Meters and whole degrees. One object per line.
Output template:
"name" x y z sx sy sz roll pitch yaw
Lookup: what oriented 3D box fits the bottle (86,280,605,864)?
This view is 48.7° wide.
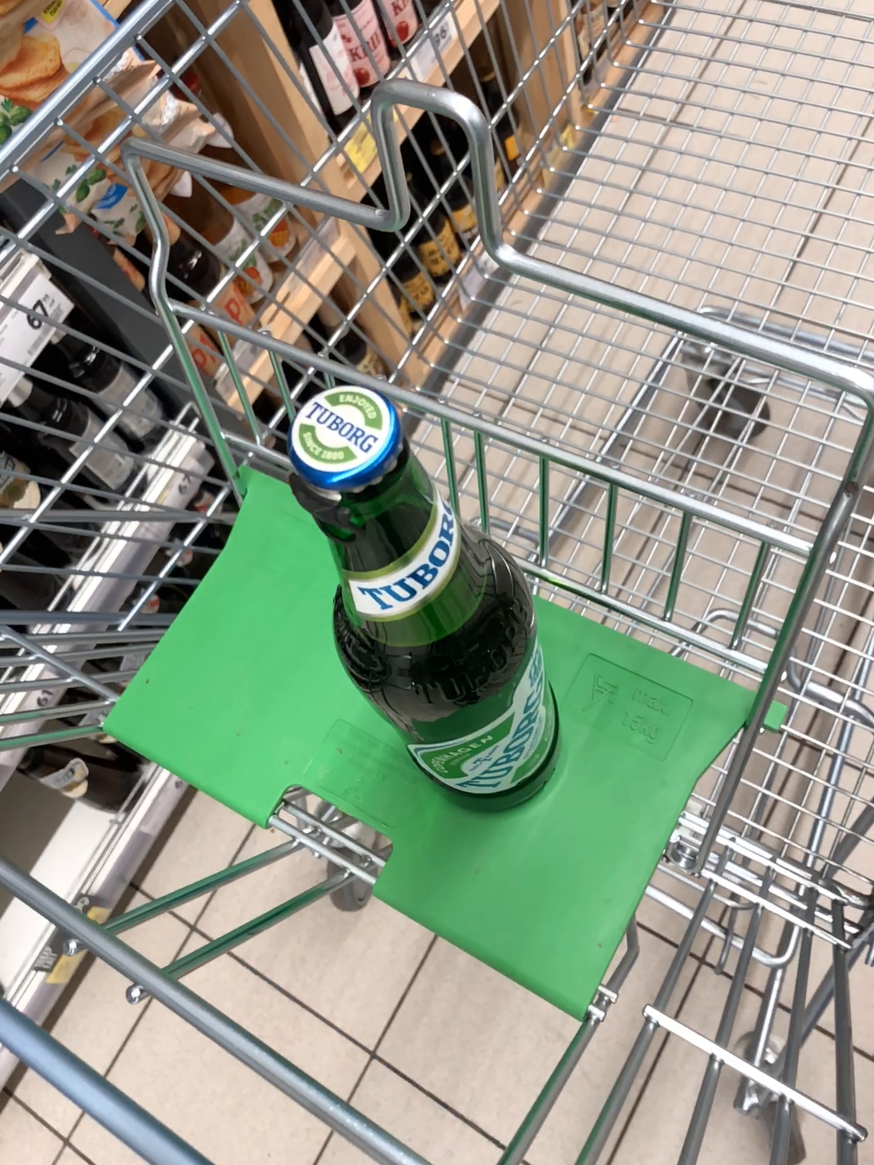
"bottle" -0.003 0.027 0.326 0.080 0.259 0.070 -37 65 -4
